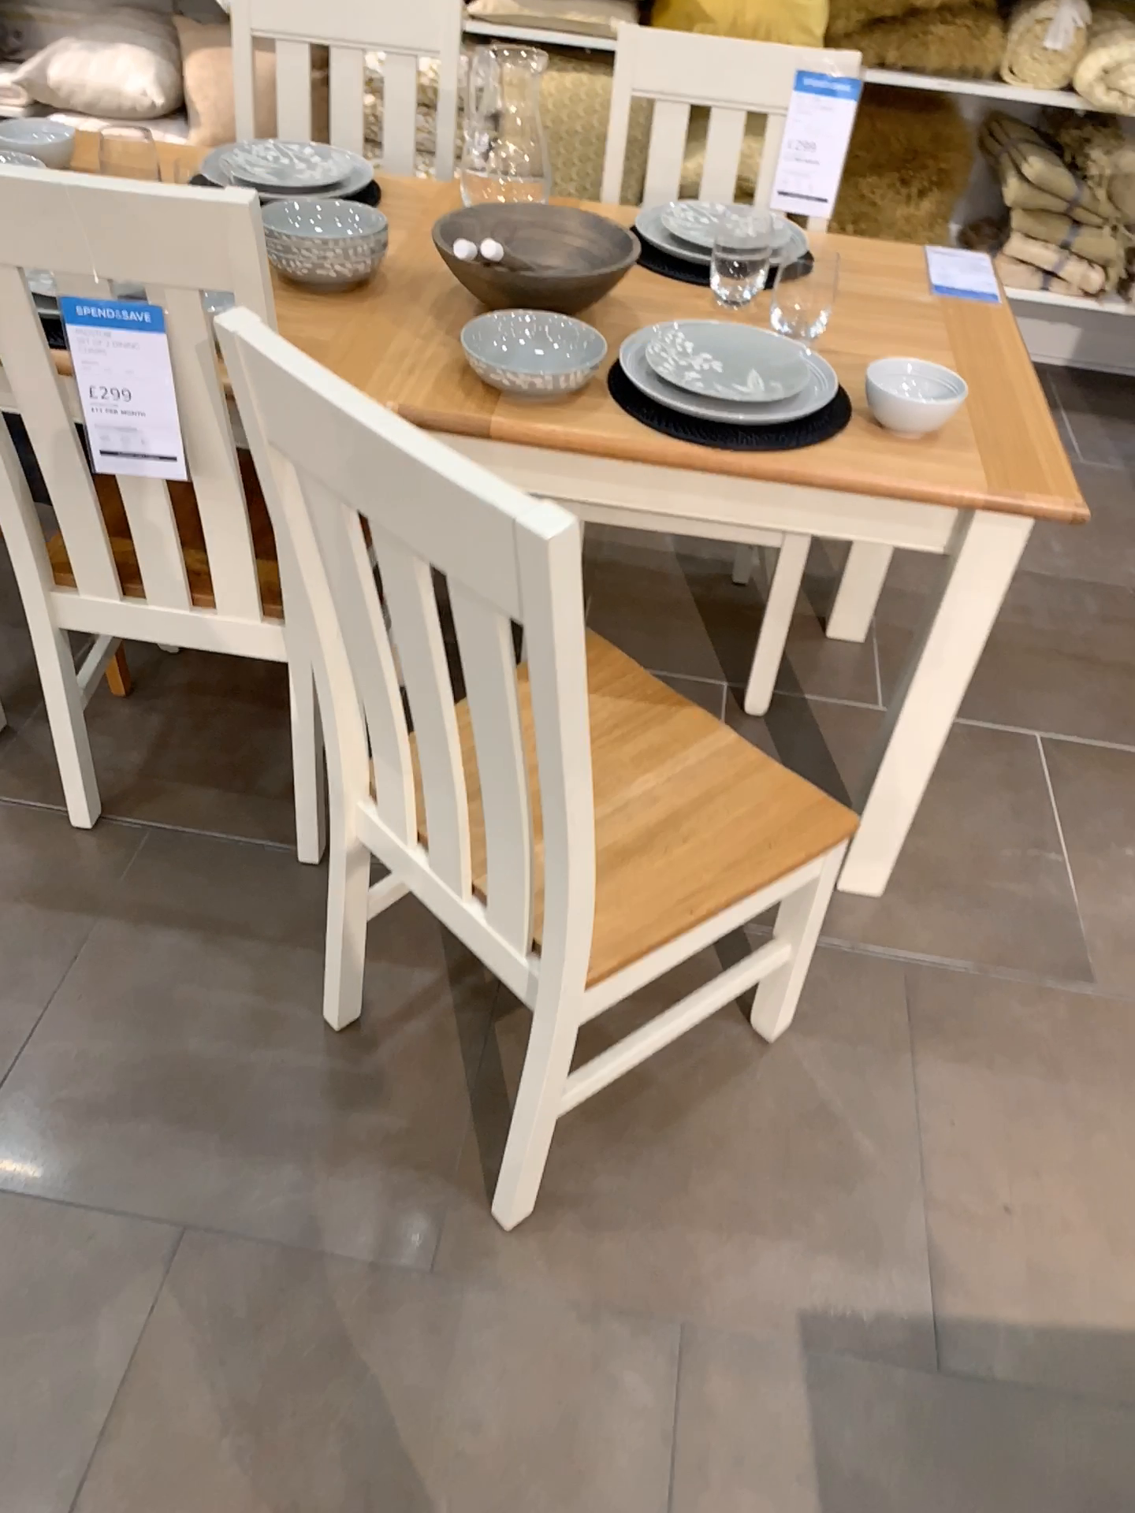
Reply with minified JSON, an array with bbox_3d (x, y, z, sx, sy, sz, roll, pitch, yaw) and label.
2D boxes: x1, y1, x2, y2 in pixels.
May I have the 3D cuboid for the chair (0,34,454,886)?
[{"bbox_3d":[-0.463,-0.374,1.589,0.472,0.925,0.540,11,42,5],"label":"chair"}]

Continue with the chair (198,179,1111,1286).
[{"bbox_3d":[0.040,-0.012,1.239,0.548,0.925,0.504,-30,53,-34],"label":"chair"}]
